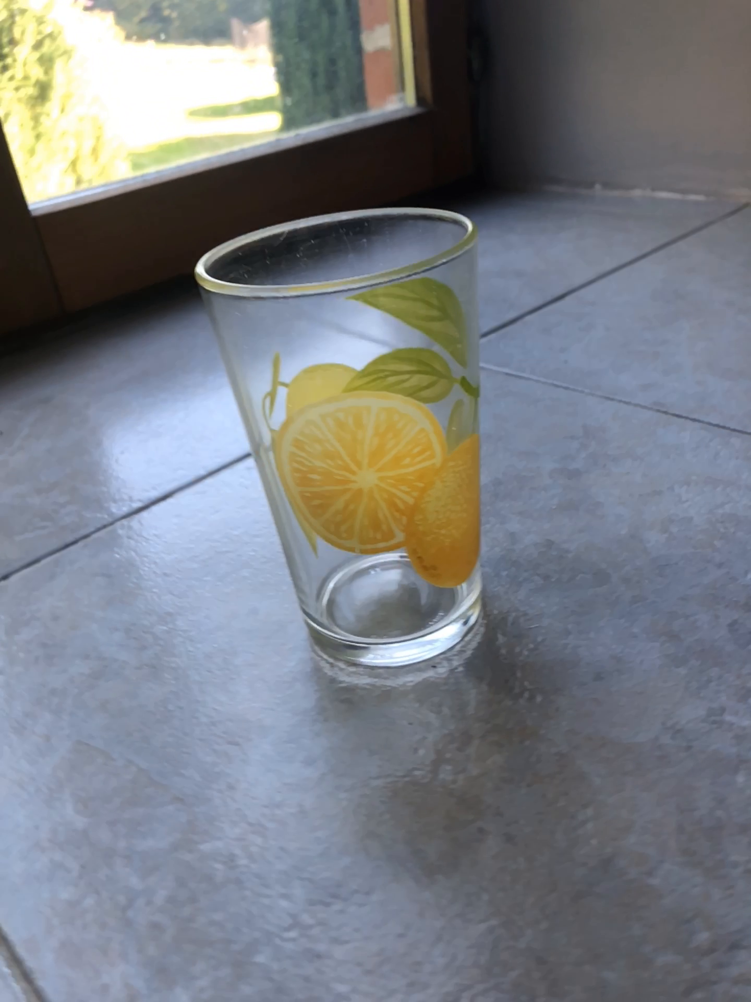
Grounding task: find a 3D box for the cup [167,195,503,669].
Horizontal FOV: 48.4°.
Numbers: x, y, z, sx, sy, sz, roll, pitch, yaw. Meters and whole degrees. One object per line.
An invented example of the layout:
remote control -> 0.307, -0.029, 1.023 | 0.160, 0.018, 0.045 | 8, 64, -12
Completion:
cup -> -0.001, -0.019, 0.241 | 0.069, 0.112, 0.070 | -5, 32, 3
